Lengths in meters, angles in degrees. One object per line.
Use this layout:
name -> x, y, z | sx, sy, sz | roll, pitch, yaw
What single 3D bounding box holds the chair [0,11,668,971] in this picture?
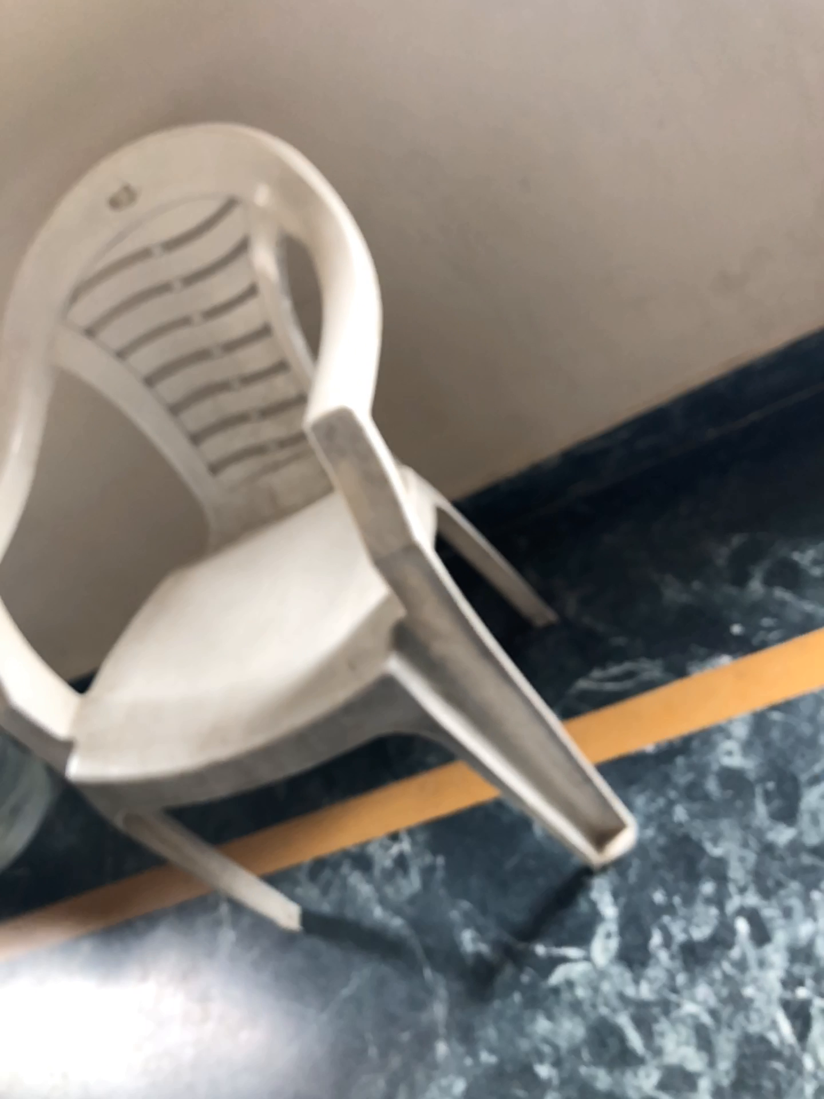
chair -> -0.175, -0.021, 1.096 | 0.580, 0.776, 0.624 | -24, 37, 21
